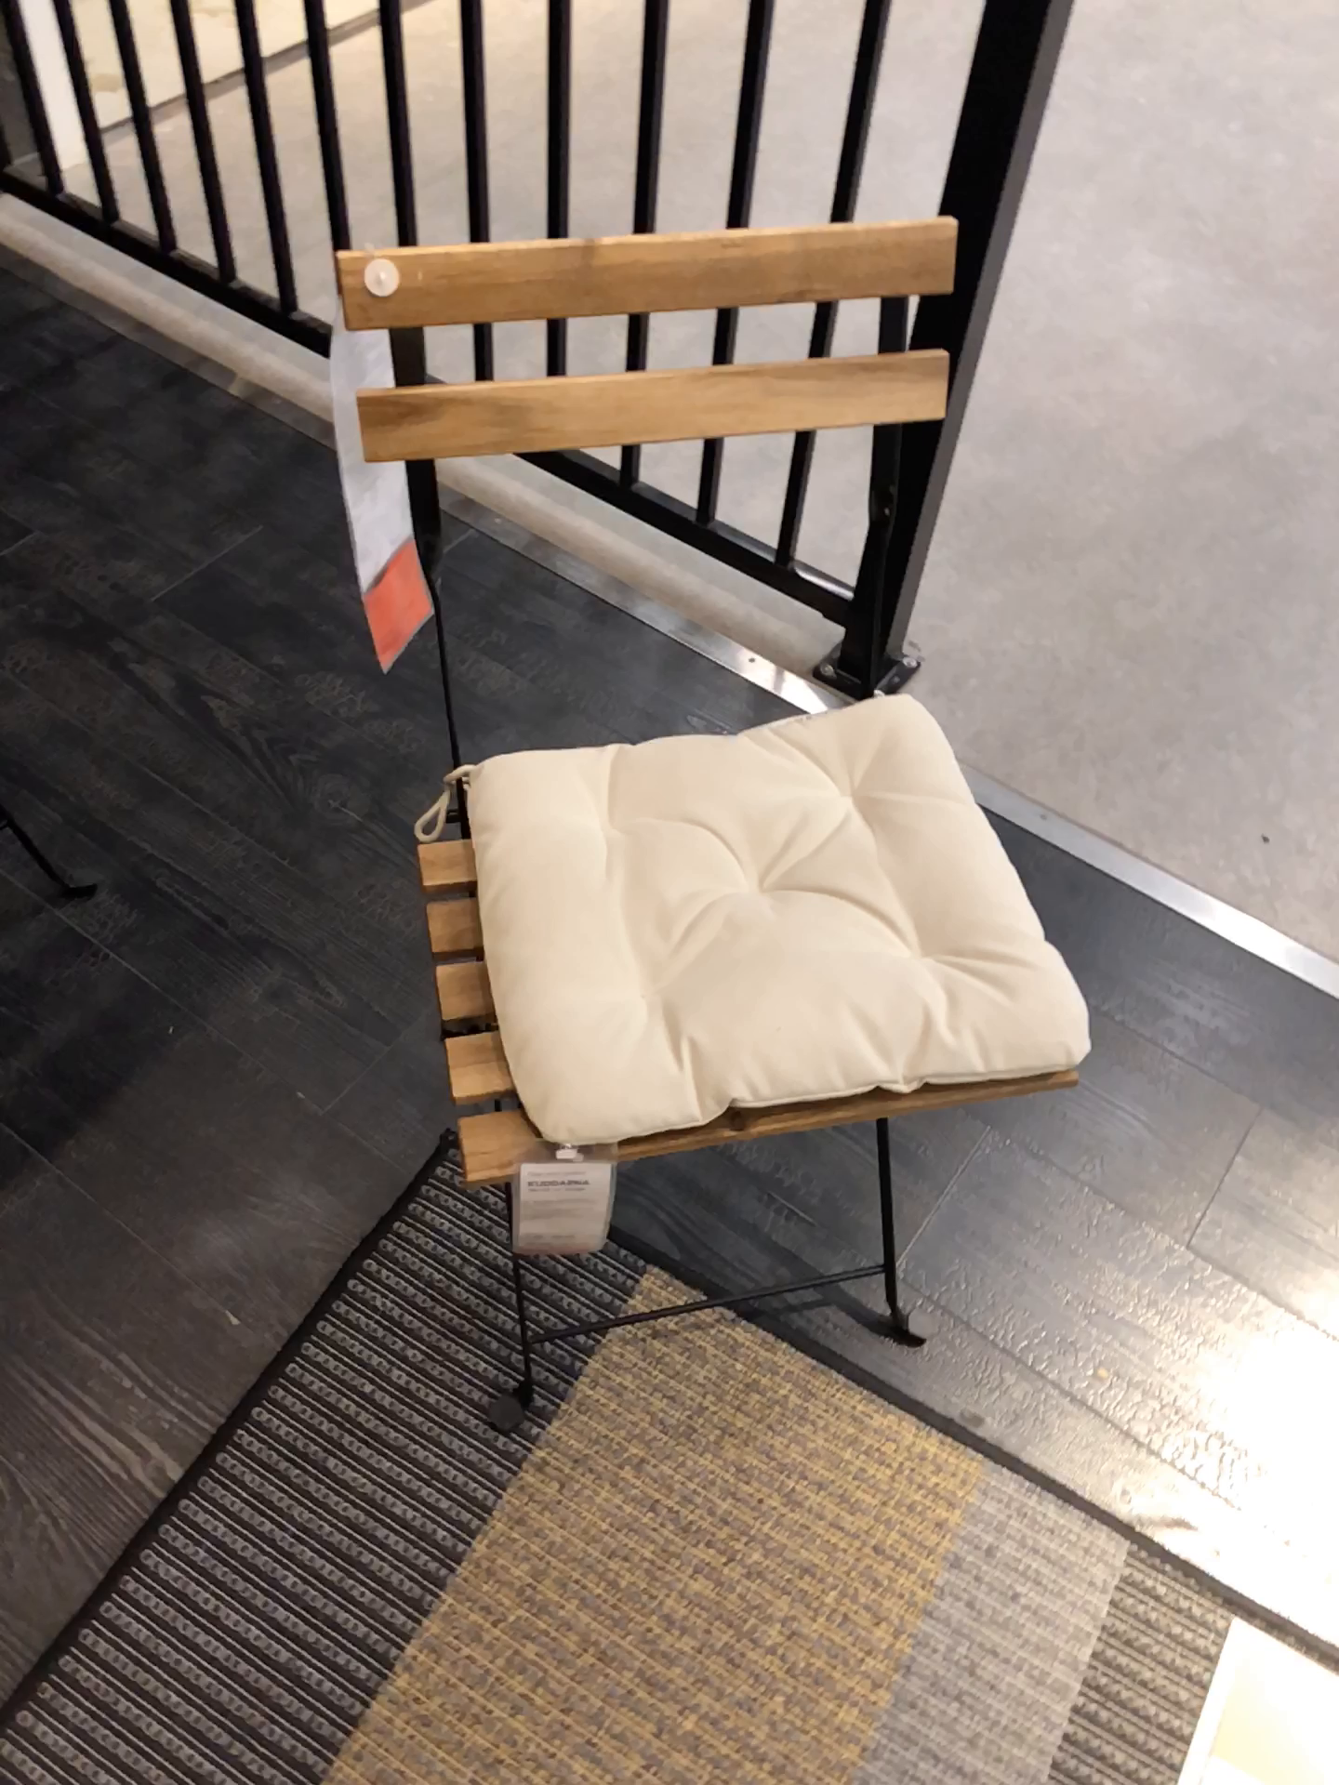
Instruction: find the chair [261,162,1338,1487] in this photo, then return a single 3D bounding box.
[{"bbox_3d":[0.024,0.007,0.995,0.450,0.758,0.461,-8,53,-11],"label":"chair"}]
